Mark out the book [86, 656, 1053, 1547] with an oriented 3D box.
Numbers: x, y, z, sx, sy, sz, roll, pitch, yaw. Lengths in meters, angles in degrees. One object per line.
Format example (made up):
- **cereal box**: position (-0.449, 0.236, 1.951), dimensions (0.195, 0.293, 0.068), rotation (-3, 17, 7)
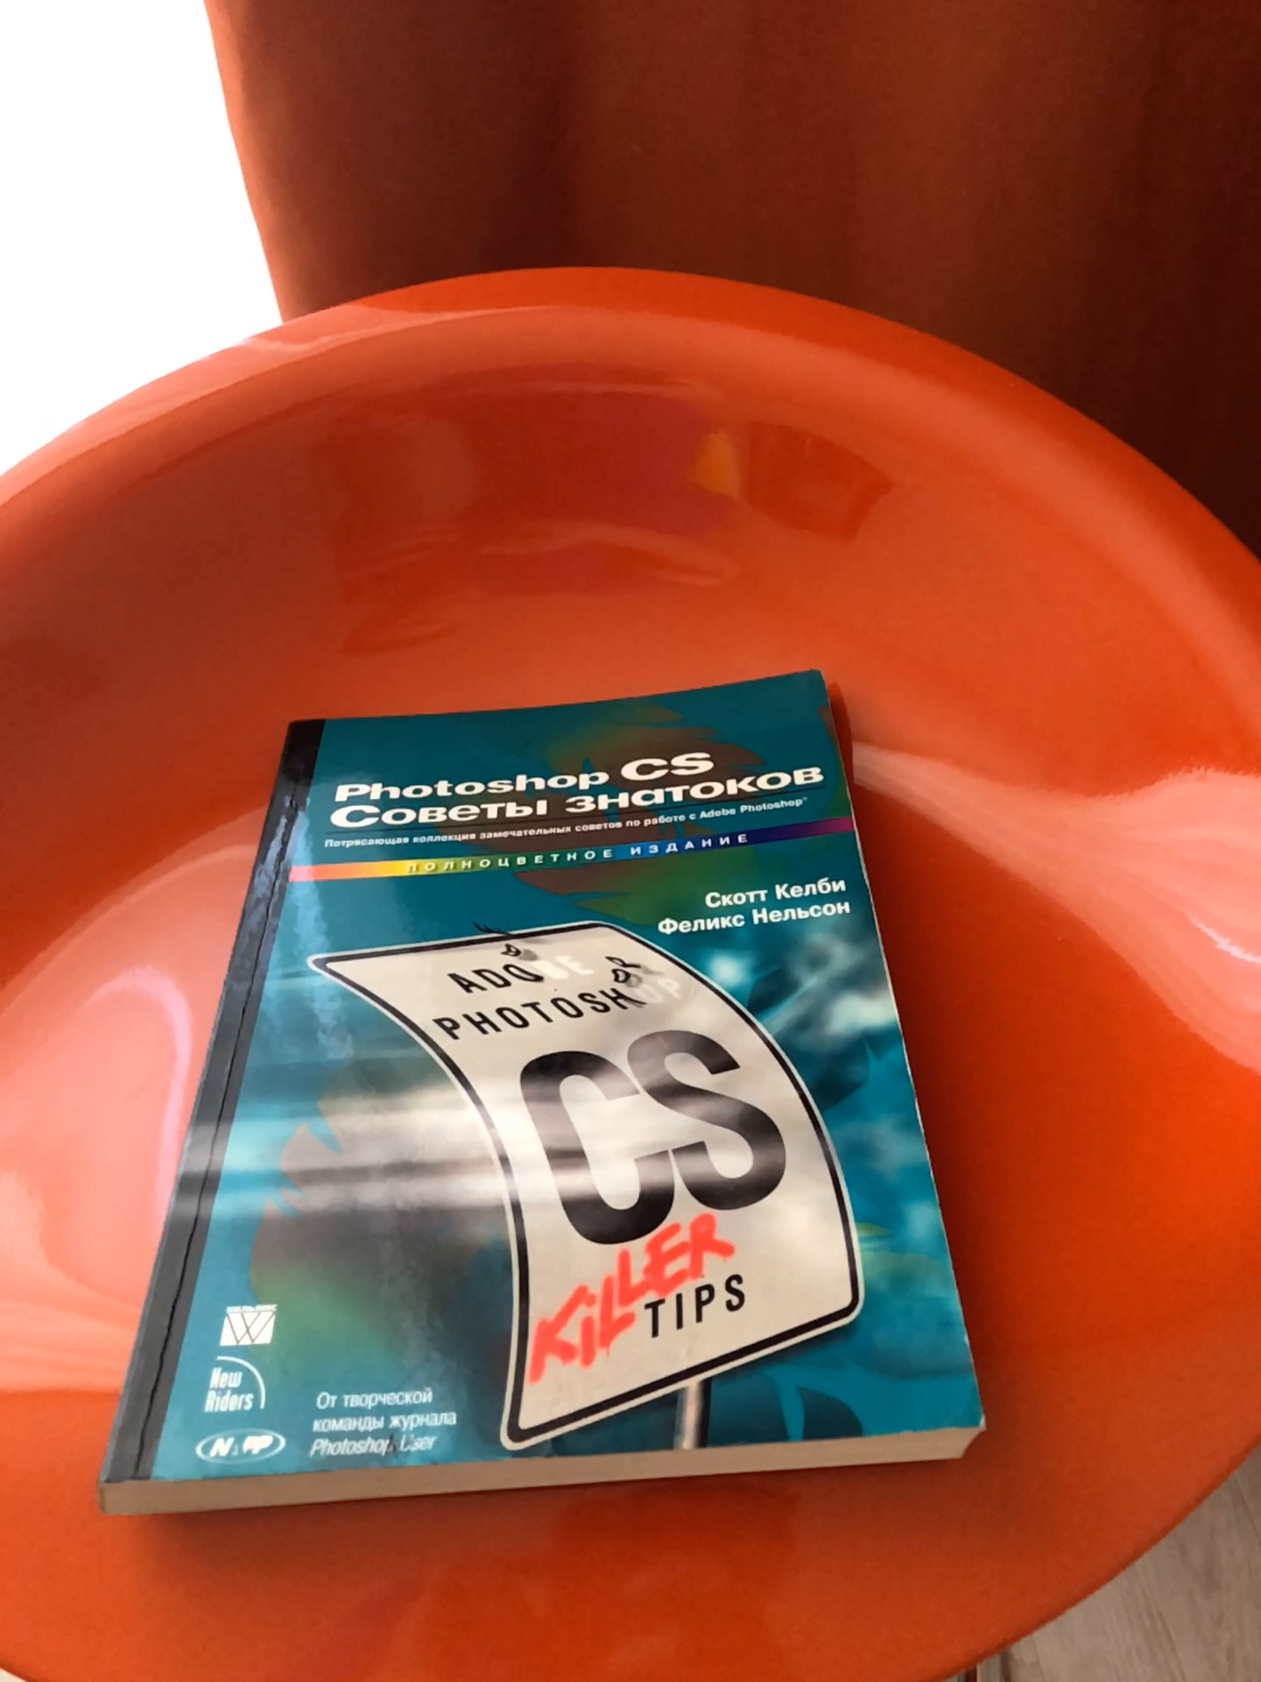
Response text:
- **book**: position (-0.014, 0.041, 0.347), dimensions (0.174, 0.030, 0.237), rotation (-5, 41, 2)
